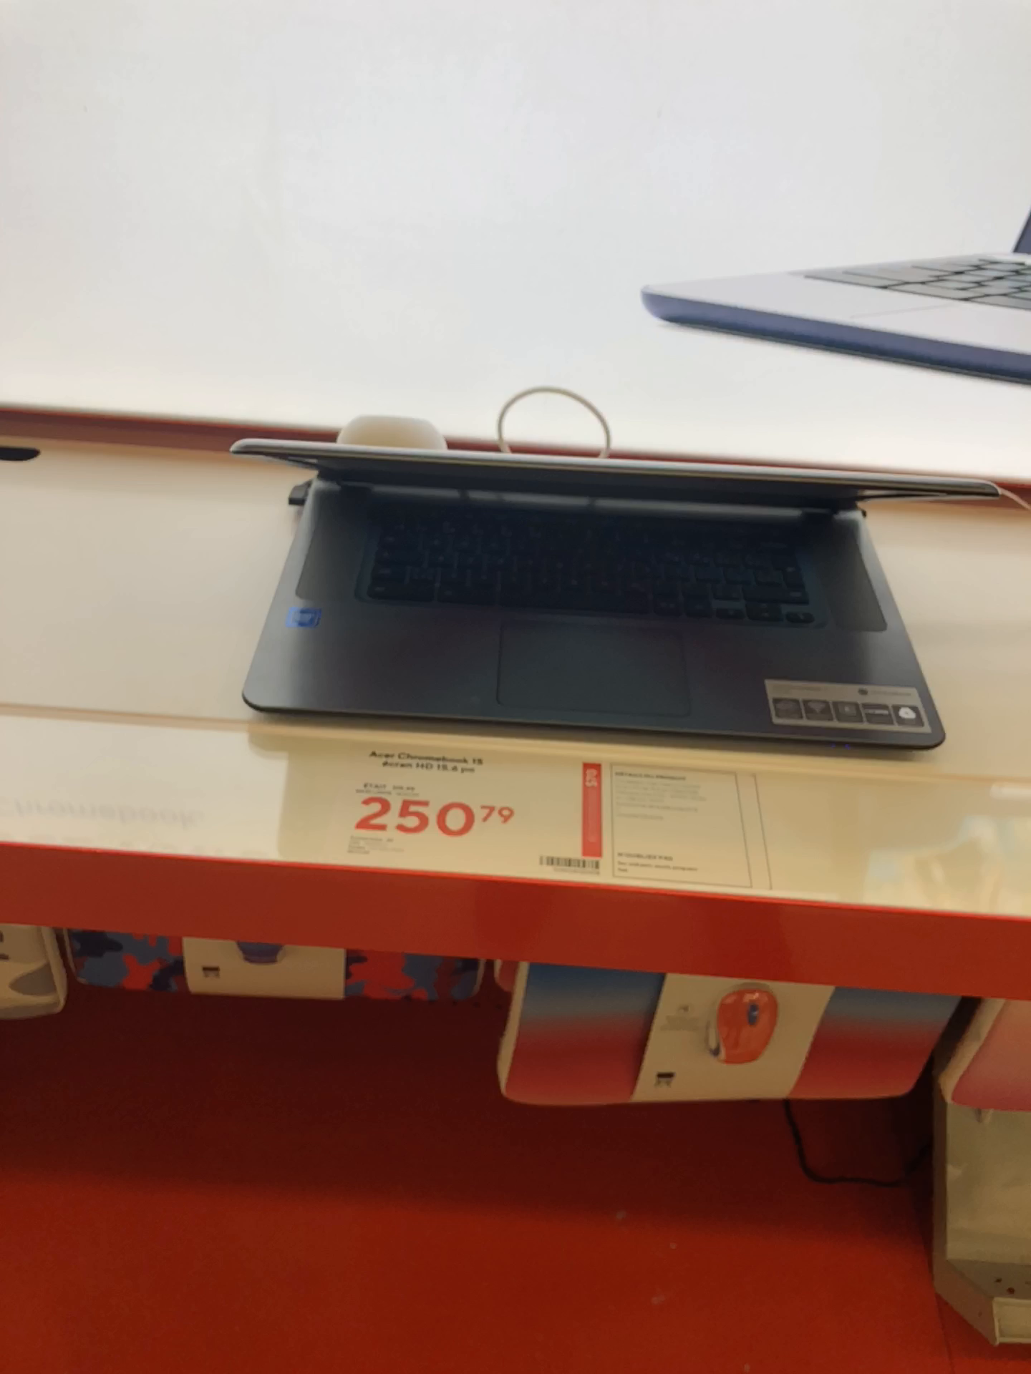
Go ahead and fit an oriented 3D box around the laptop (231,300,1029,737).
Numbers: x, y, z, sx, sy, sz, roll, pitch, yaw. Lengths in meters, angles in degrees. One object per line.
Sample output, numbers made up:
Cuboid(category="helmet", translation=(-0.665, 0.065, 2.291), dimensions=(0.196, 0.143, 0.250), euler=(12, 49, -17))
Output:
Cuboid(category="laptop", translation=(0.052, -0.106, 0.648), dimensions=(0.363, 0.122, 0.238), euler=(3, 38, -1))
